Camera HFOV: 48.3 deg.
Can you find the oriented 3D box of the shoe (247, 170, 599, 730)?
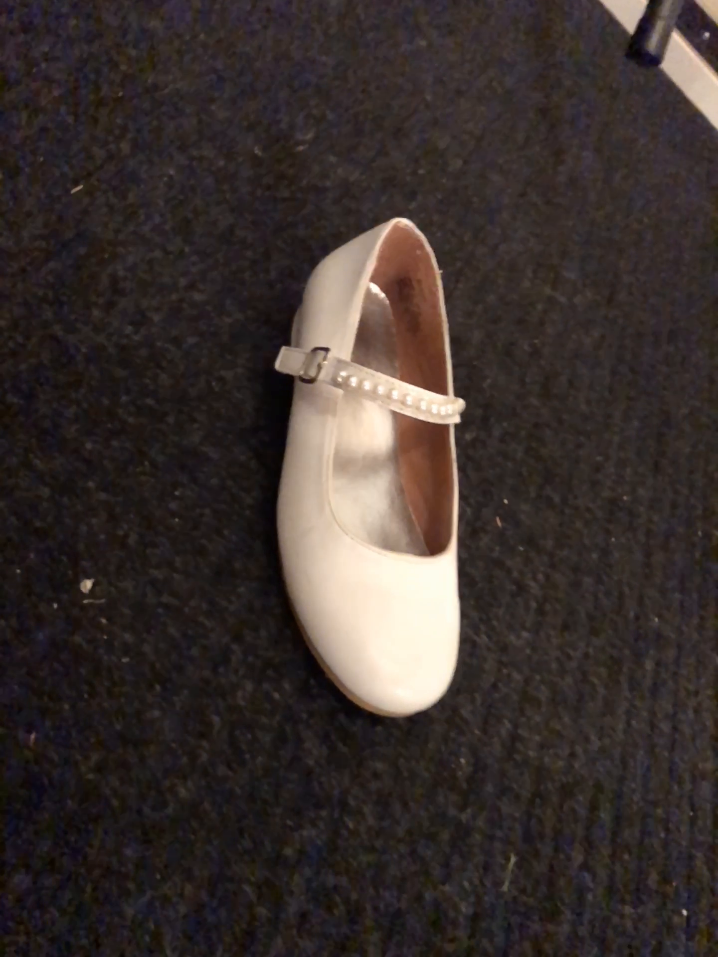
[{"bbox_3d":[0.014,-0.011,0.323,0.080,0.080,0.200,14,54,-33],"label":"shoe"}]
